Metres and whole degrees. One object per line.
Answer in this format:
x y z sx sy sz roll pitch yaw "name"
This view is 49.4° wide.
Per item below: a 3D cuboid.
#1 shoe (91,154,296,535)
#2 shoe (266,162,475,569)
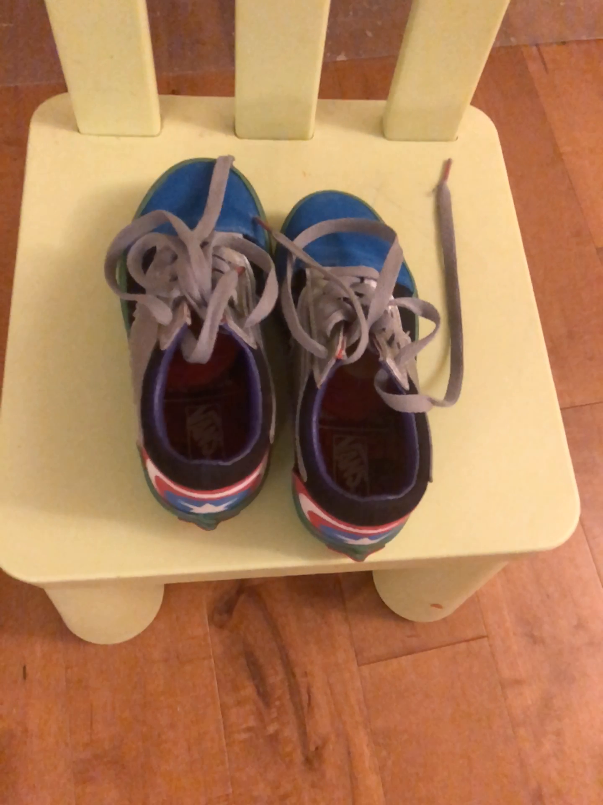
-0.054 -0.030 0.360 0.090 0.080 0.190 0 71 -6 "shoe"
0.025 -0.018 0.331 0.080 0.070 0.190 0 71 -6 "shoe"
